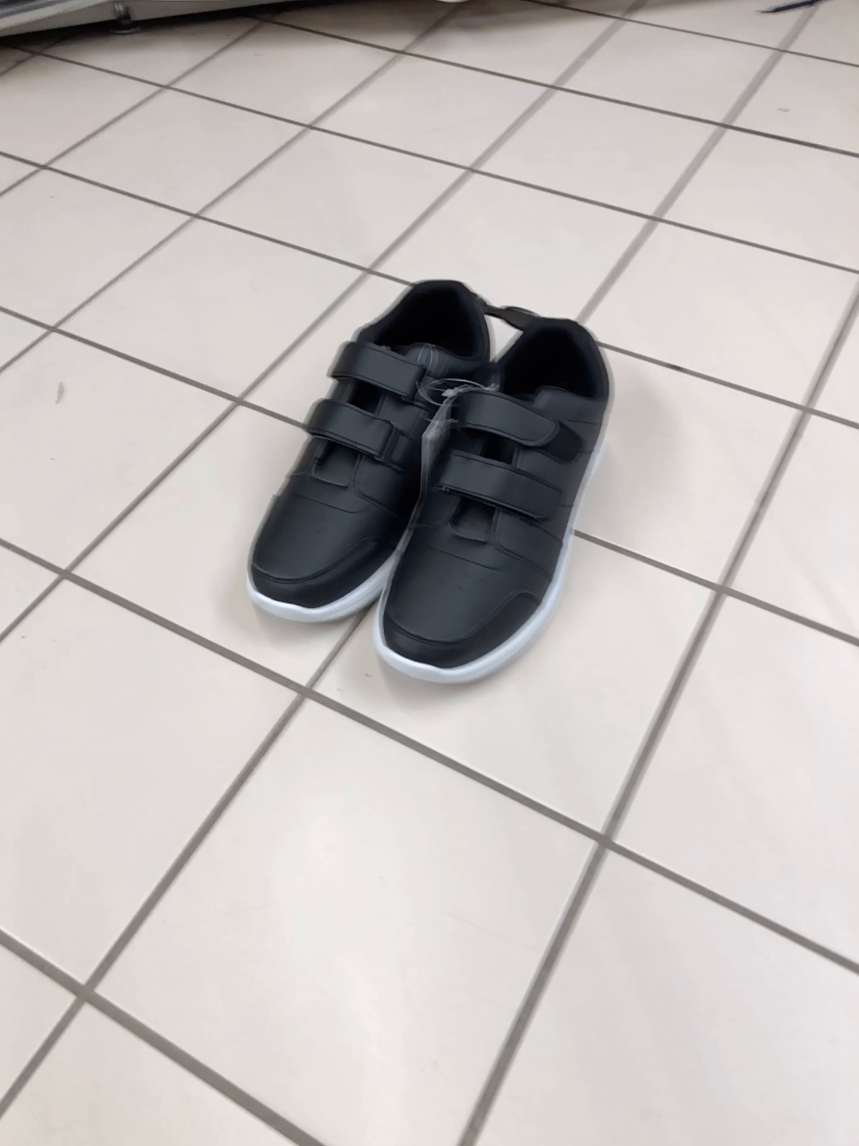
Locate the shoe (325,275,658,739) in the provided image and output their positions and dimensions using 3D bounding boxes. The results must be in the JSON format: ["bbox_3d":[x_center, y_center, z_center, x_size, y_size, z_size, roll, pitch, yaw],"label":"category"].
[{"bbox_3d":[0.053,-0.059,0.626,0.100,0.100,0.312,18,54,16],"label":"shoe"}]

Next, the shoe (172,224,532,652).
[{"bbox_3d":[-0.035,-0.108,0.656,0.100,0.100,0.312,20,55,17],"label":"shoe"}]
